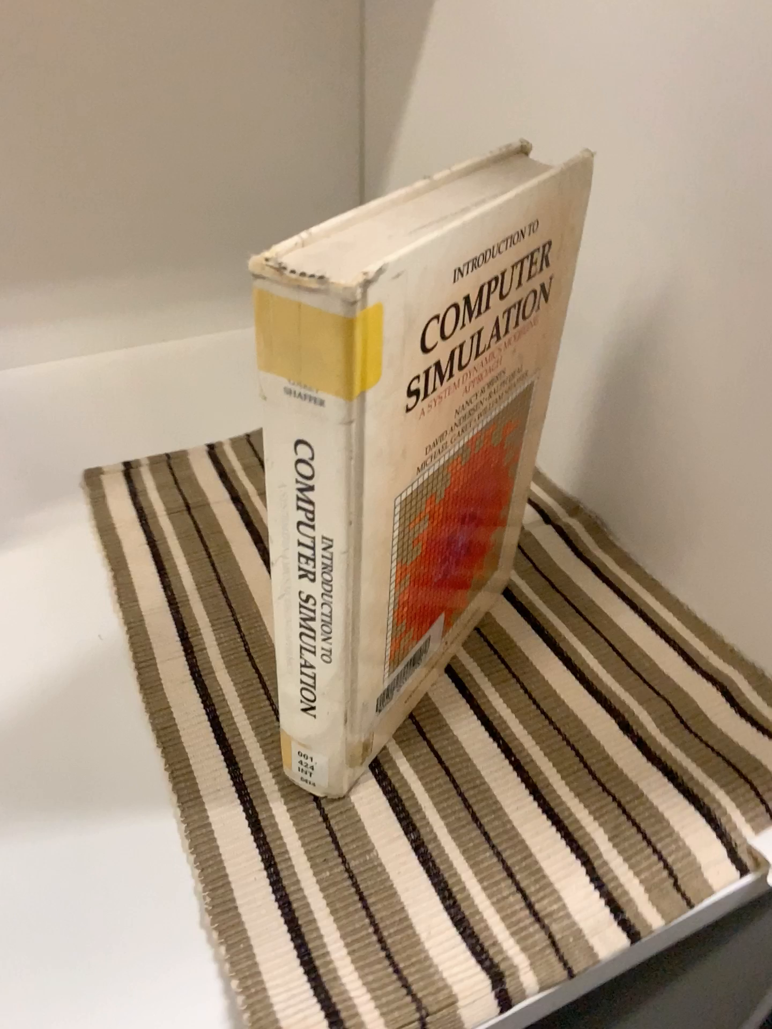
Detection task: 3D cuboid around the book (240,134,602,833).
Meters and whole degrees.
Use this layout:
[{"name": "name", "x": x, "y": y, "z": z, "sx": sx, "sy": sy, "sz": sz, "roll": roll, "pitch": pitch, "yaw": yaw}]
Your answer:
[{"name": "book", "x": 0.018, "y": -0.011, "z": 0.330, "sx": 0.040, "sy": 0.238, "sz": 0.171, "roll": 22, "pitch": 41, "yaw": 23}]
